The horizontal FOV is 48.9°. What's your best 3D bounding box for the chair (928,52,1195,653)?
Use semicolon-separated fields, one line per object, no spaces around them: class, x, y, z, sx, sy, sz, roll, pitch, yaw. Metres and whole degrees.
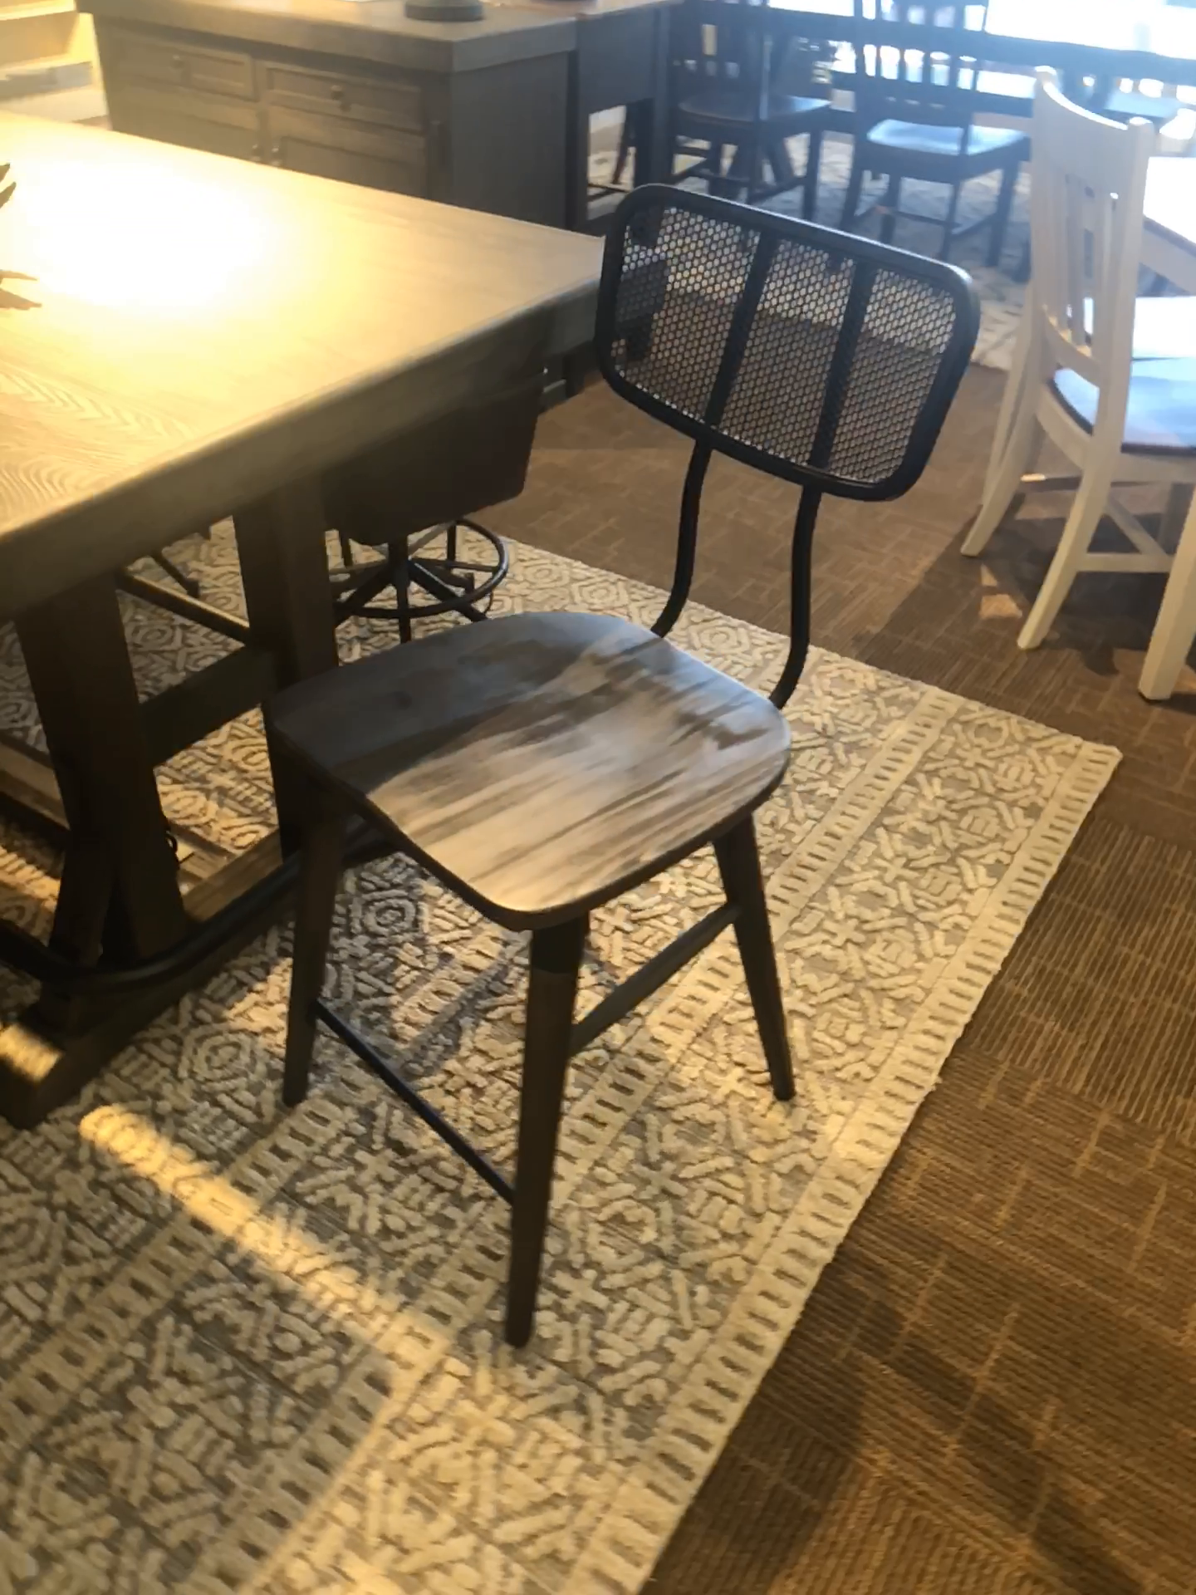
chair;0.978;-0.779;2.327;0.489;0.866;0.557;-2;37;-5

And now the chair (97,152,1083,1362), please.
chair;-0.009;-0.055;1.334;0.606;0.947;0.508;-29;47;-34

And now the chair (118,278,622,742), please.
chair;-0.378;-0.531;2.285;0.635;0.488;0.521;28;44;30
